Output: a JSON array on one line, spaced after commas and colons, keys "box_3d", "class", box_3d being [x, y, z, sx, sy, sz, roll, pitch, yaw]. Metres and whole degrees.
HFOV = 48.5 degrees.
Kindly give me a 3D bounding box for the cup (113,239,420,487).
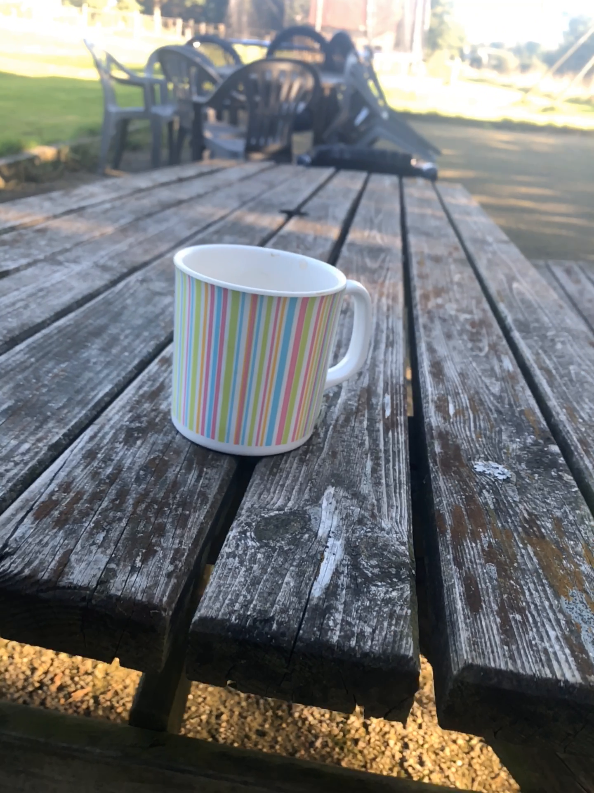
[{"box_3d": [-0.024, -0.026, 0.375, 0.134, 0.096, 0.099, -5, 30, -28], "class": "cup"}]
